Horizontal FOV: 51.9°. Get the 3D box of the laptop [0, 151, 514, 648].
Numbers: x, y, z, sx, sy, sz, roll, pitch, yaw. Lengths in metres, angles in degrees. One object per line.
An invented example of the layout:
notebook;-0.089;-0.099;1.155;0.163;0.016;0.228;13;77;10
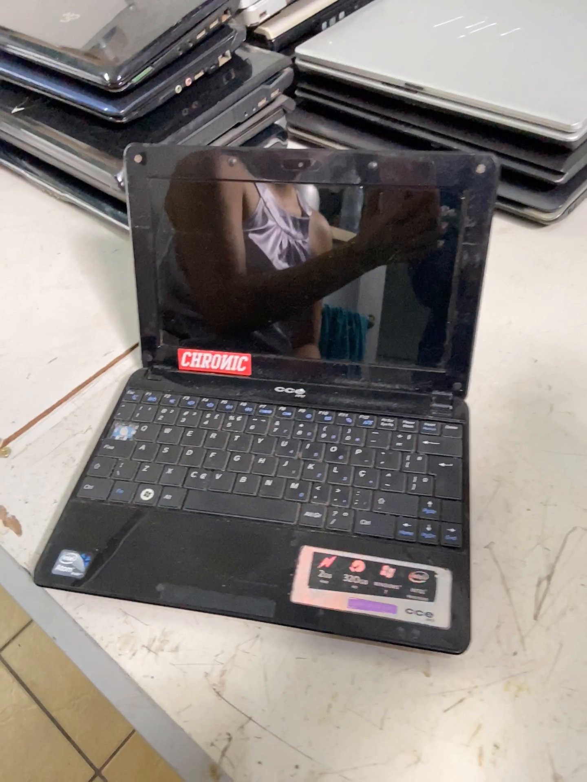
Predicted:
laptop;-0.013;-0.017;0.373;0.253;0.137;0.259;5;50;11
